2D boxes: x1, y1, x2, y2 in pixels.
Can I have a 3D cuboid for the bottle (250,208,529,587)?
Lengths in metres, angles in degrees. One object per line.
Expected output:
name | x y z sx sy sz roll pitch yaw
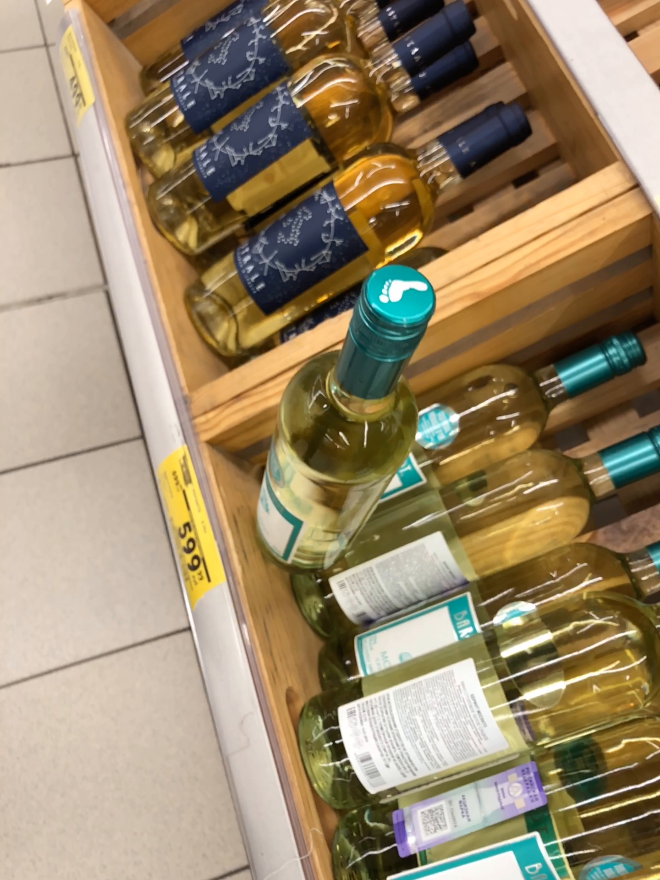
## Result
bottle | 0.008 0.003 0.418 0.080 0.289 0.080 4 64 -8
